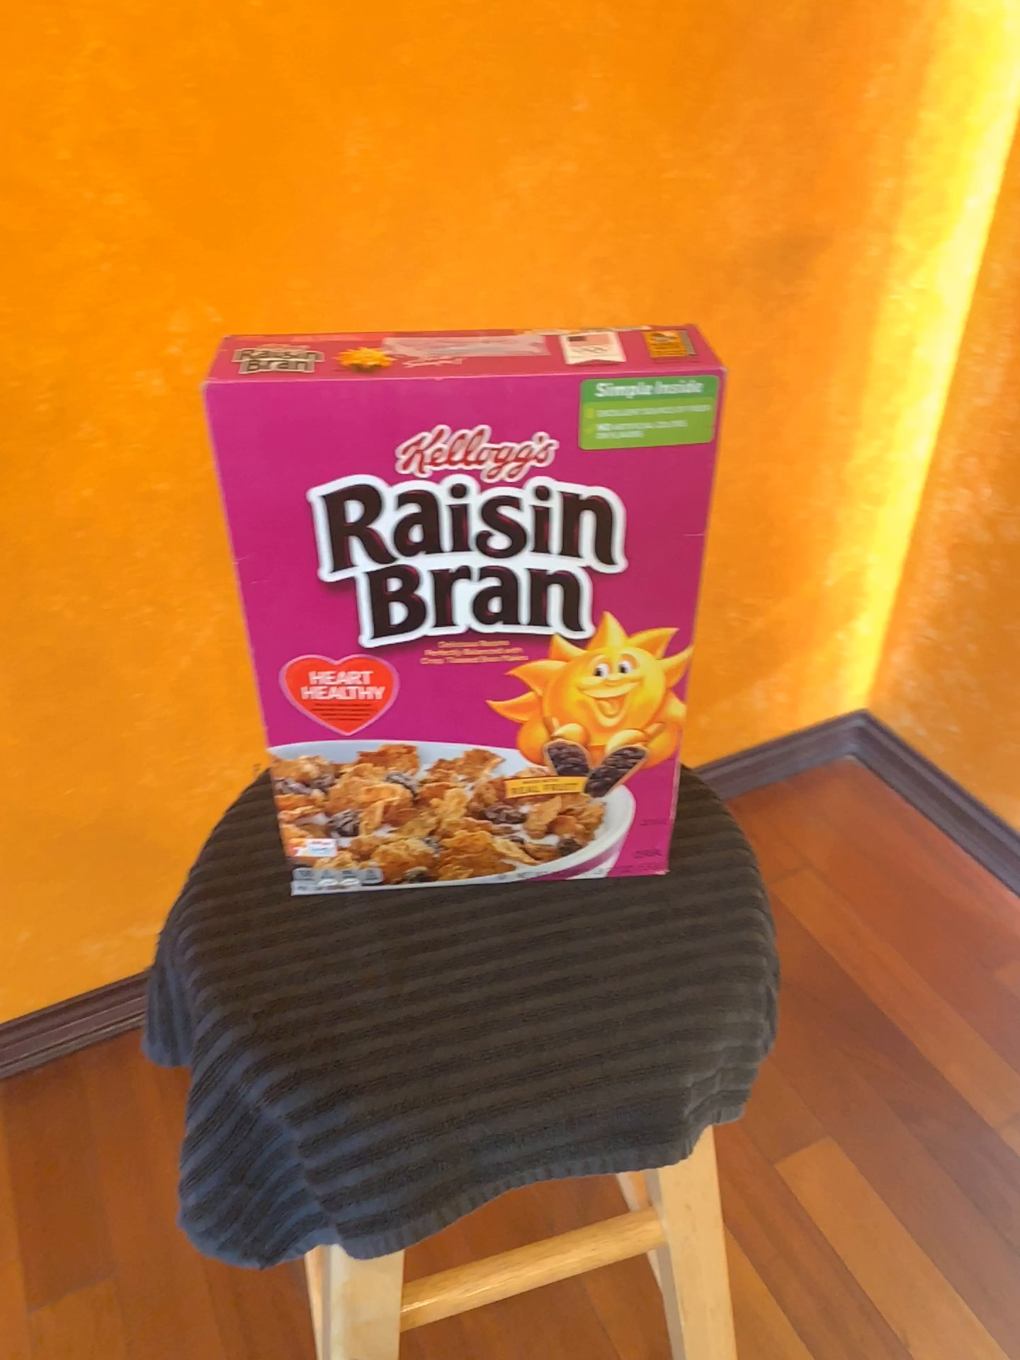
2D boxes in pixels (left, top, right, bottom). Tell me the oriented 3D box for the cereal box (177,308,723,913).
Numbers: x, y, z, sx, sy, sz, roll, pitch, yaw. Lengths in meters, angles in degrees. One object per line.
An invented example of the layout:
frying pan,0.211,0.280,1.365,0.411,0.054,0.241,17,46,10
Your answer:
cereal box,-0.023,-0.017,0.493,0.200,0.288,0.060,-3,37,-4
